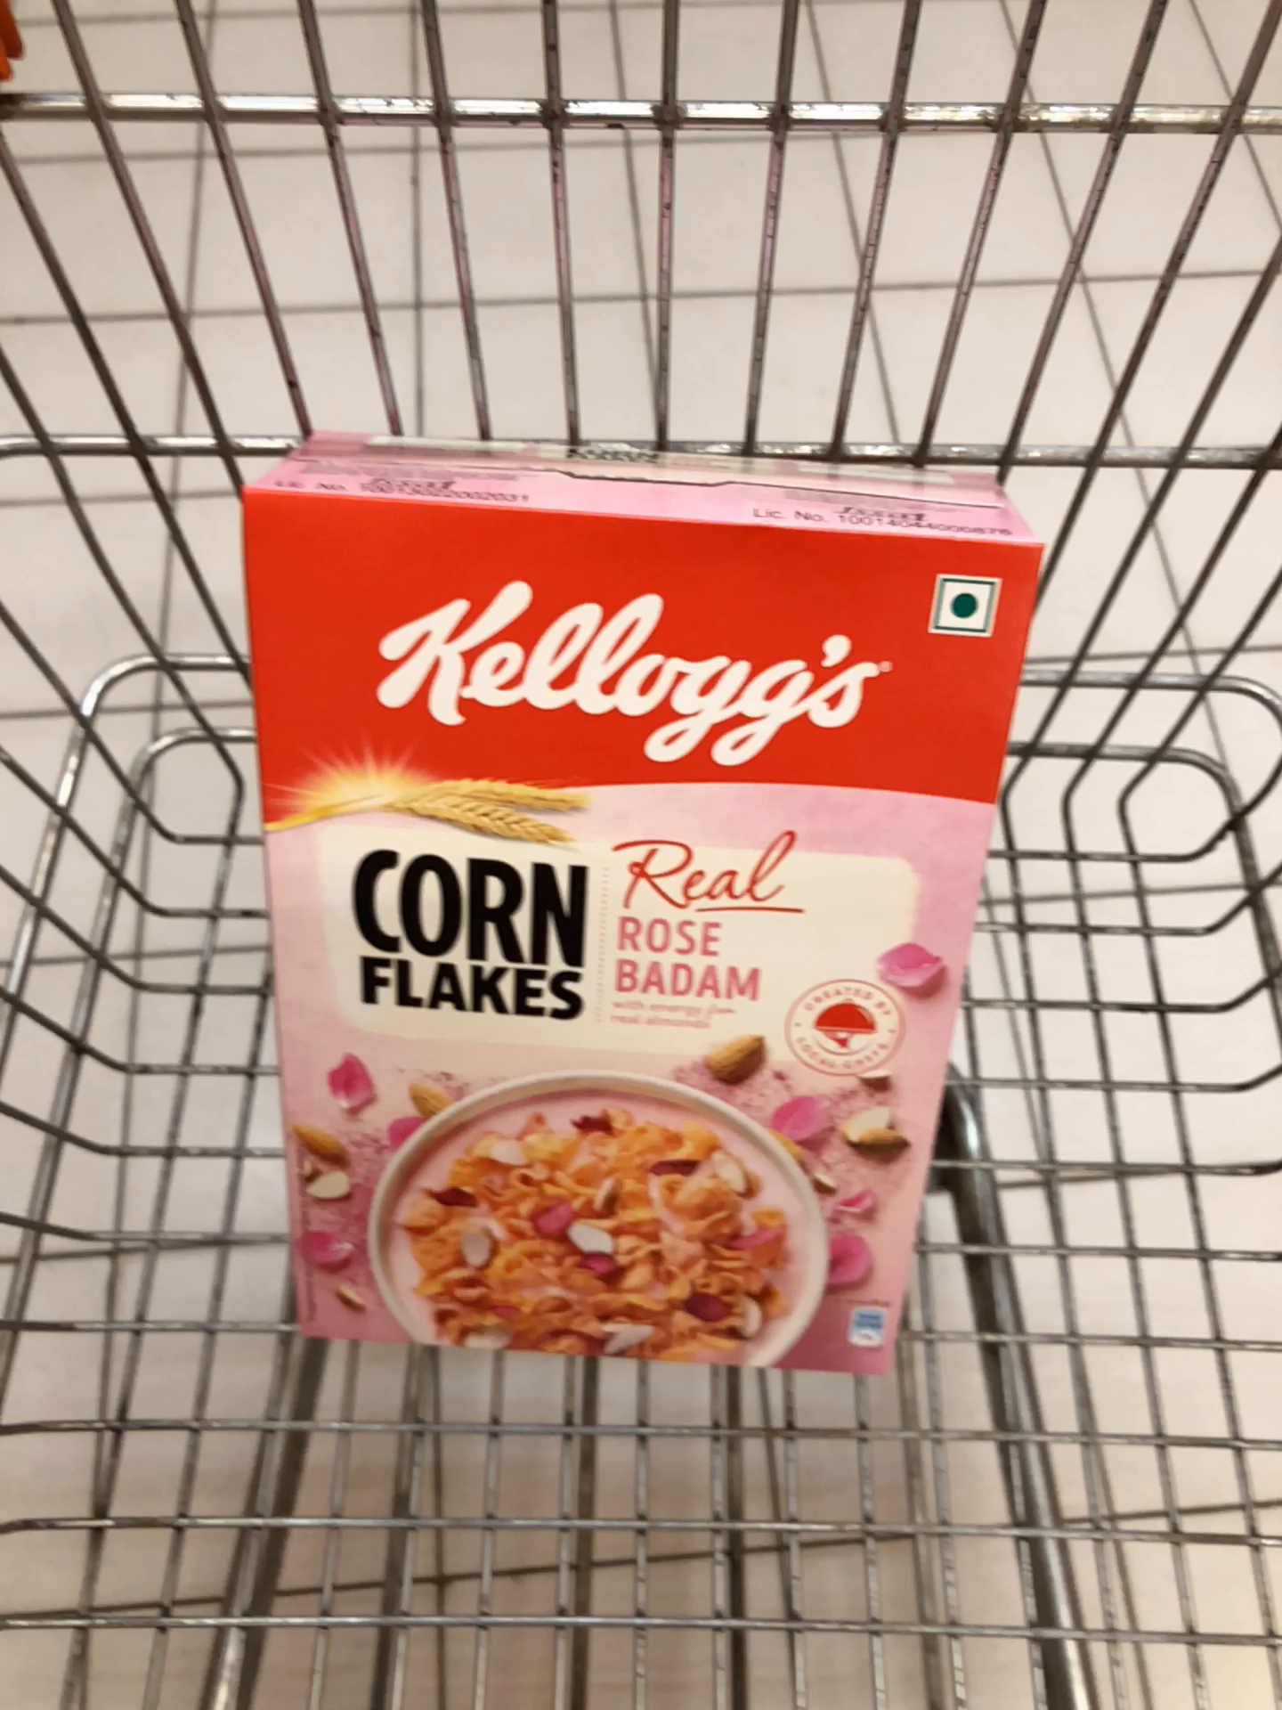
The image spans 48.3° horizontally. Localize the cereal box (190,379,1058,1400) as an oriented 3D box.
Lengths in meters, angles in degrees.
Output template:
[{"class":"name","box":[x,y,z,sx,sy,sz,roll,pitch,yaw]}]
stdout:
[{"class":"cereal box","box":[-0.010,0.017,0.390,0.180,0.259,0.080,4,27,0]}]
